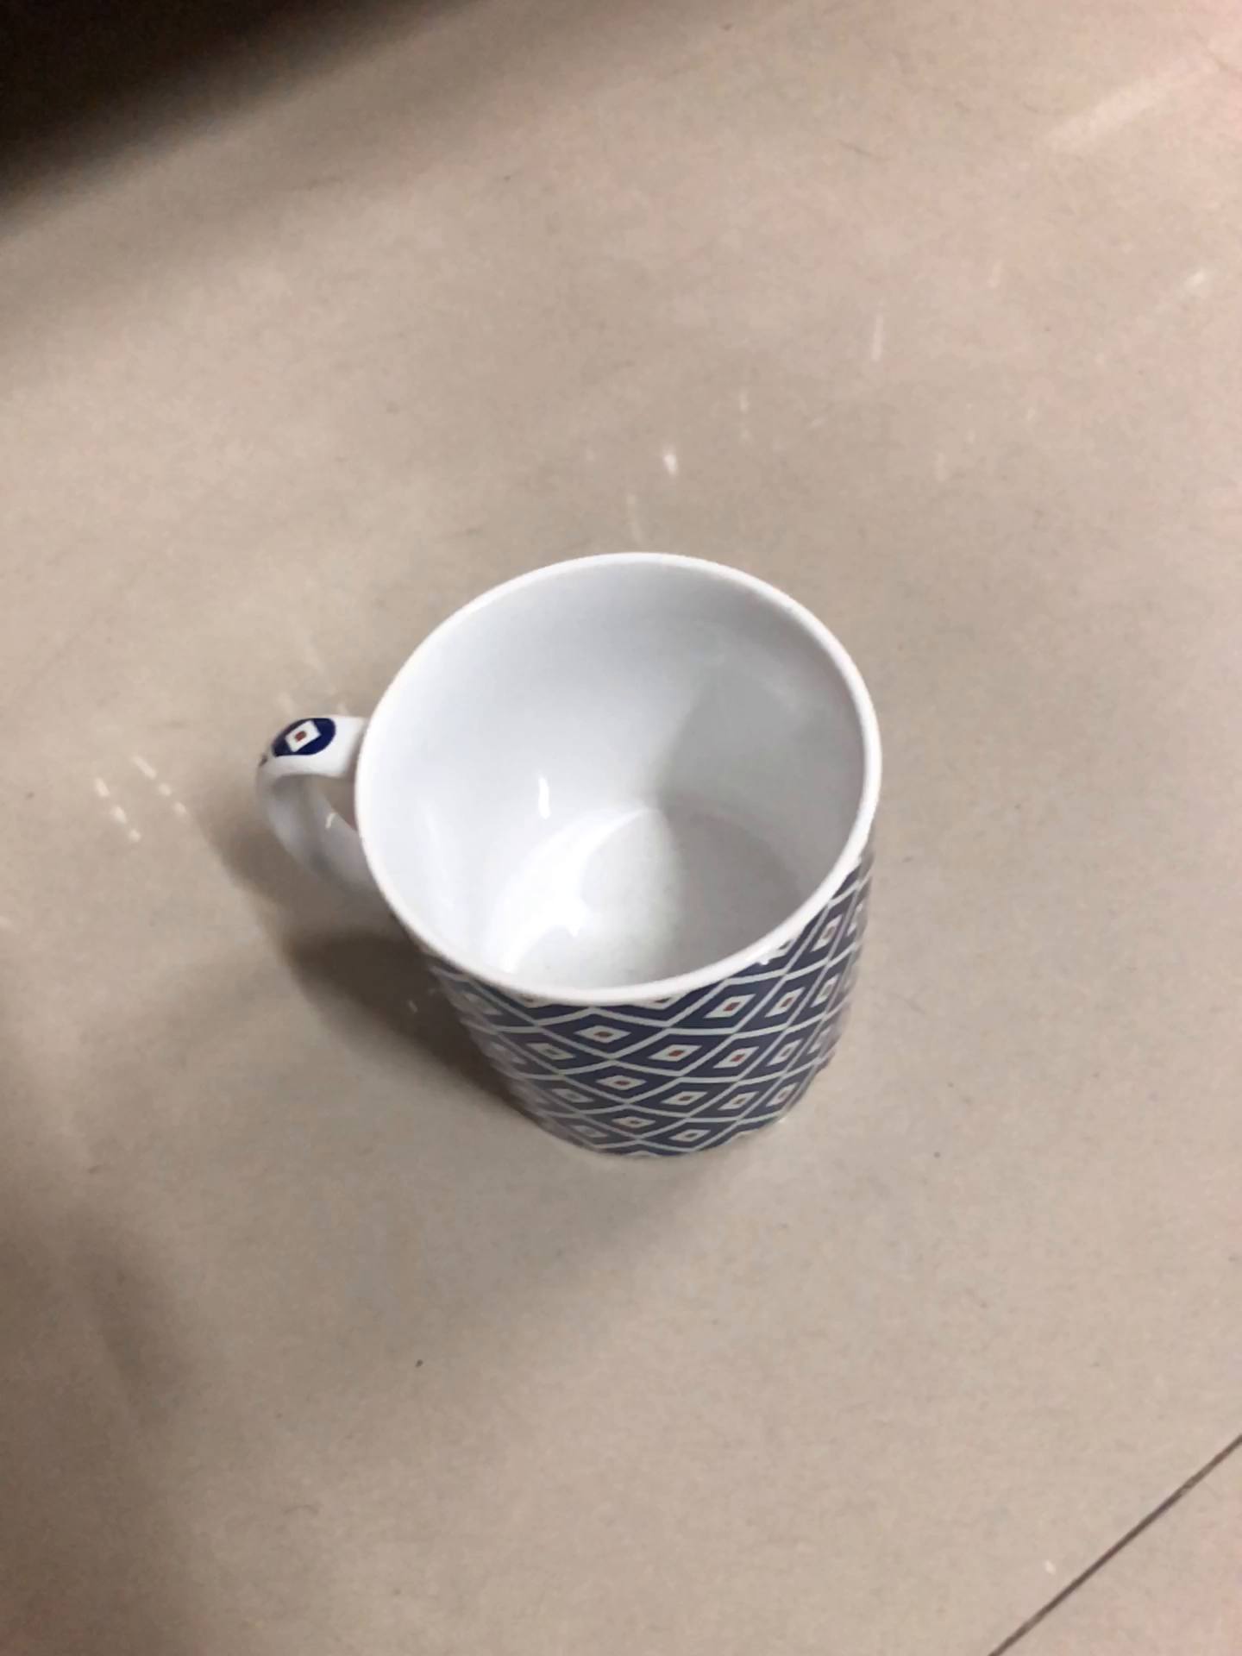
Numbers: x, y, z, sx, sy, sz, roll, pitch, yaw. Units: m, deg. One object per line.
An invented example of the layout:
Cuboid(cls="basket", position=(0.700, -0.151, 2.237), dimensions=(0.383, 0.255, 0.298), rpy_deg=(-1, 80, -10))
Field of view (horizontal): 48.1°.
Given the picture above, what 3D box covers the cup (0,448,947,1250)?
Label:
Cuboid(cls="cup", position=(-0.014, 0.004, 0.221), dimensions=(0.110, 0.080, 0.080), rpy_deg=(11, 61, 13))
